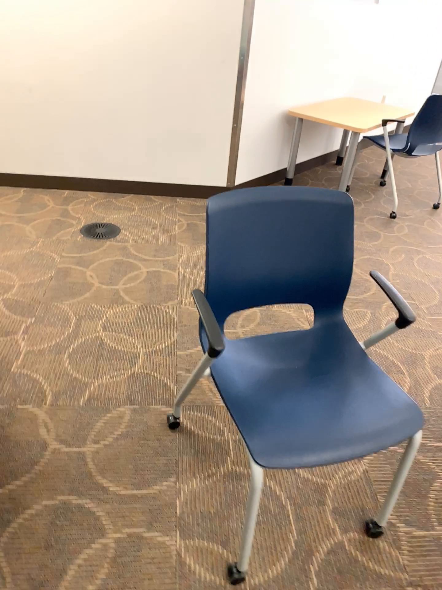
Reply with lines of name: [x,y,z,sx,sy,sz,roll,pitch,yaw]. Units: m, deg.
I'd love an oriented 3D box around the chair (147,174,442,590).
chair: [0.190,0.162,1.062,0.620,0.687,0.612,-6,35,-18]
